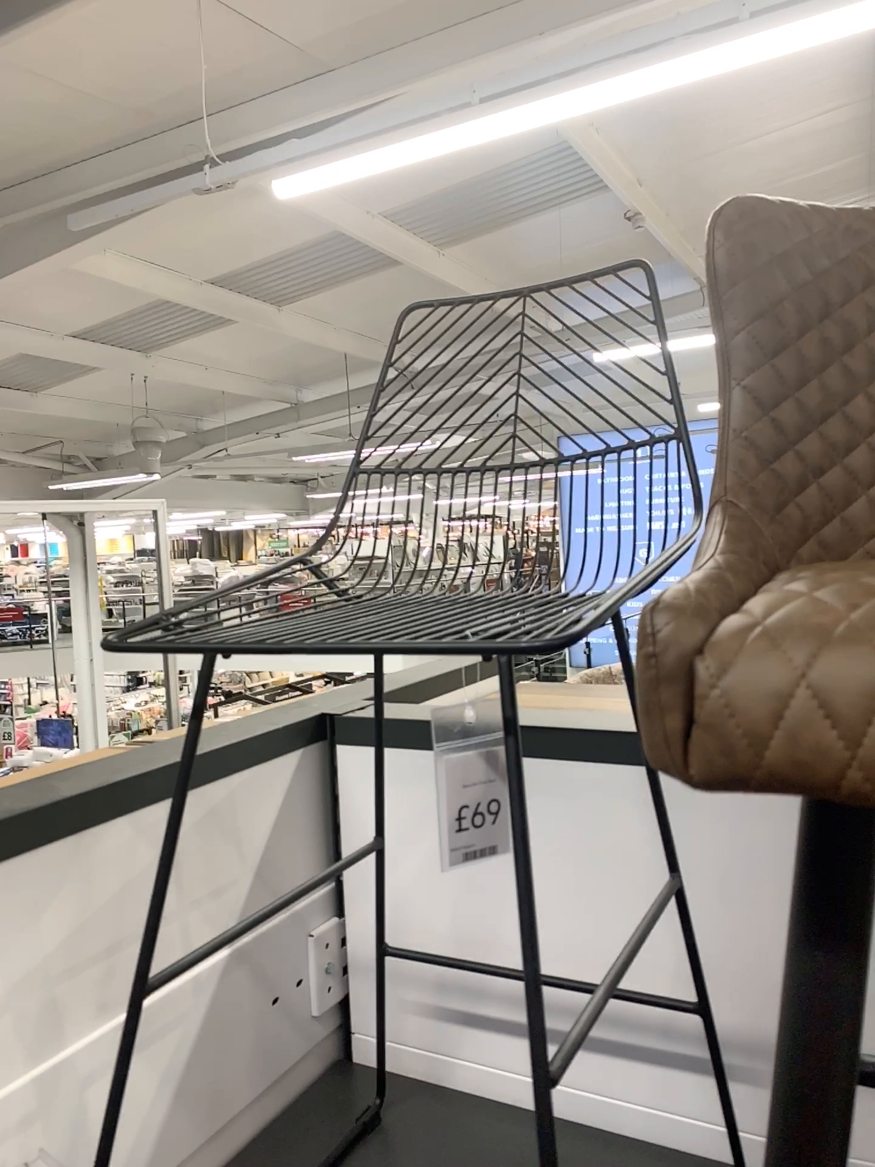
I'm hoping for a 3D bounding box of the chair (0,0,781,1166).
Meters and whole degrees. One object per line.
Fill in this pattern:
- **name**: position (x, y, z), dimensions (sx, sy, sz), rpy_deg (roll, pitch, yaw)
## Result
- **chair**: position (-0.018, 0.157, 0.798), dimensions (0.508, 0.967, 0.528), rpy_deg (-2, 3, 28)
